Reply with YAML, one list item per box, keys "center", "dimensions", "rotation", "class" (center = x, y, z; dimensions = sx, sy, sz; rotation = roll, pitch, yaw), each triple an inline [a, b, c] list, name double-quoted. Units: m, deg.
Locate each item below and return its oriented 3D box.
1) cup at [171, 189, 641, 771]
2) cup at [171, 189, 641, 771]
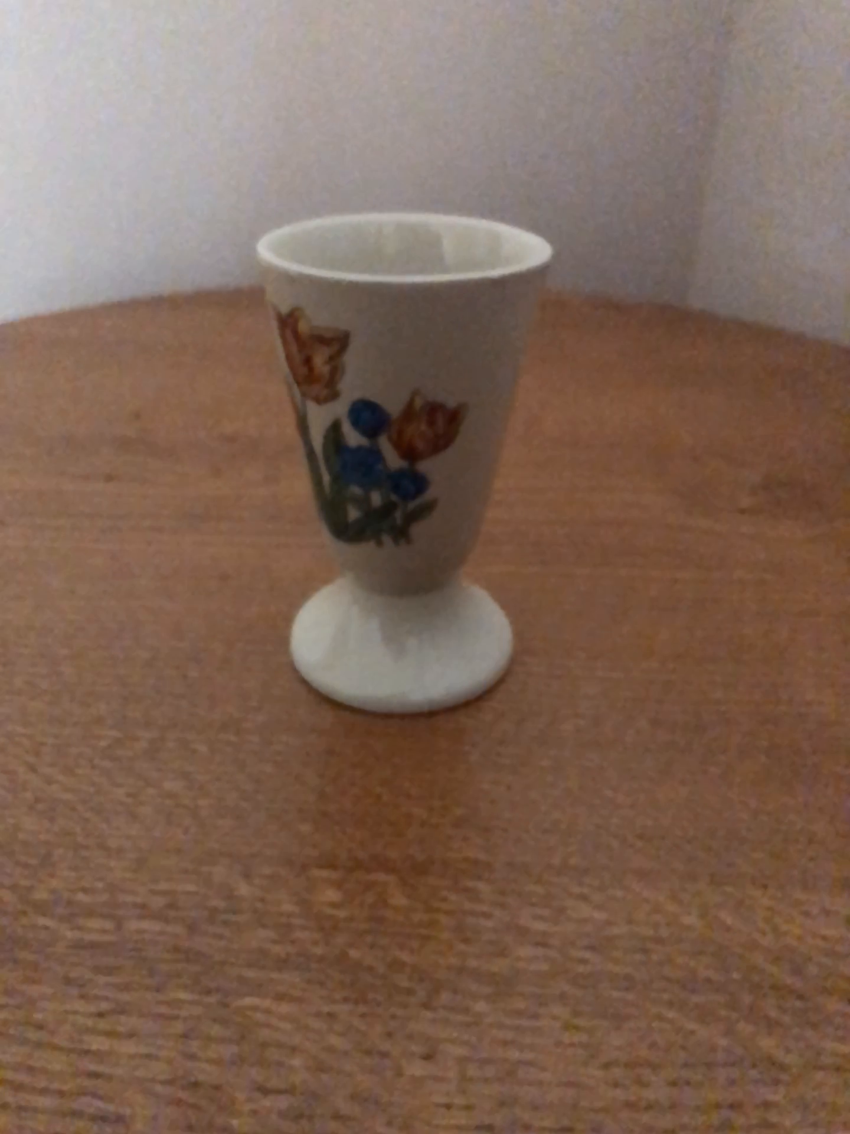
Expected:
- center: [-0.006, -0.029, 0.261]
  dimensions: [0.080, 0.119, 0.080]
  rotation: [1, 32, -1]
  class: "cup"
- center: [-0.006, -0.029, 0.261]
  dimensions: [0.080, 0.119, 0.080]
  rotation: [1, 32, -1]
  class: "cup"
